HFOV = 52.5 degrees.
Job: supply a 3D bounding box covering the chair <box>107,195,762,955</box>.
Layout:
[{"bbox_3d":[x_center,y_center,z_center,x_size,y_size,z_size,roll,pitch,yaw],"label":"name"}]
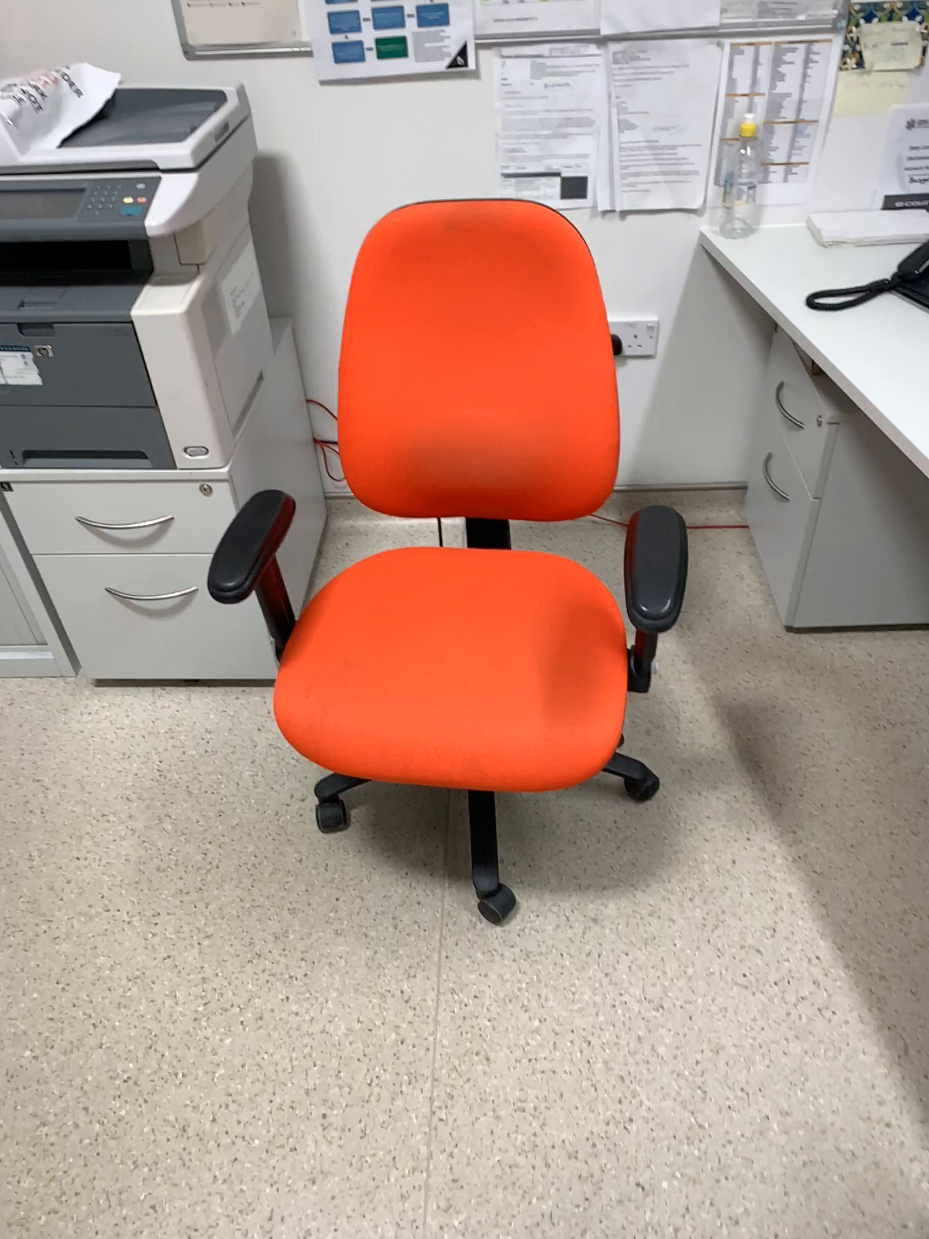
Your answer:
[{"bbox_3d":[0.034,-0.073,1.461,0.651,0.893,0.691,5,42,9],"label":"chair"}]
